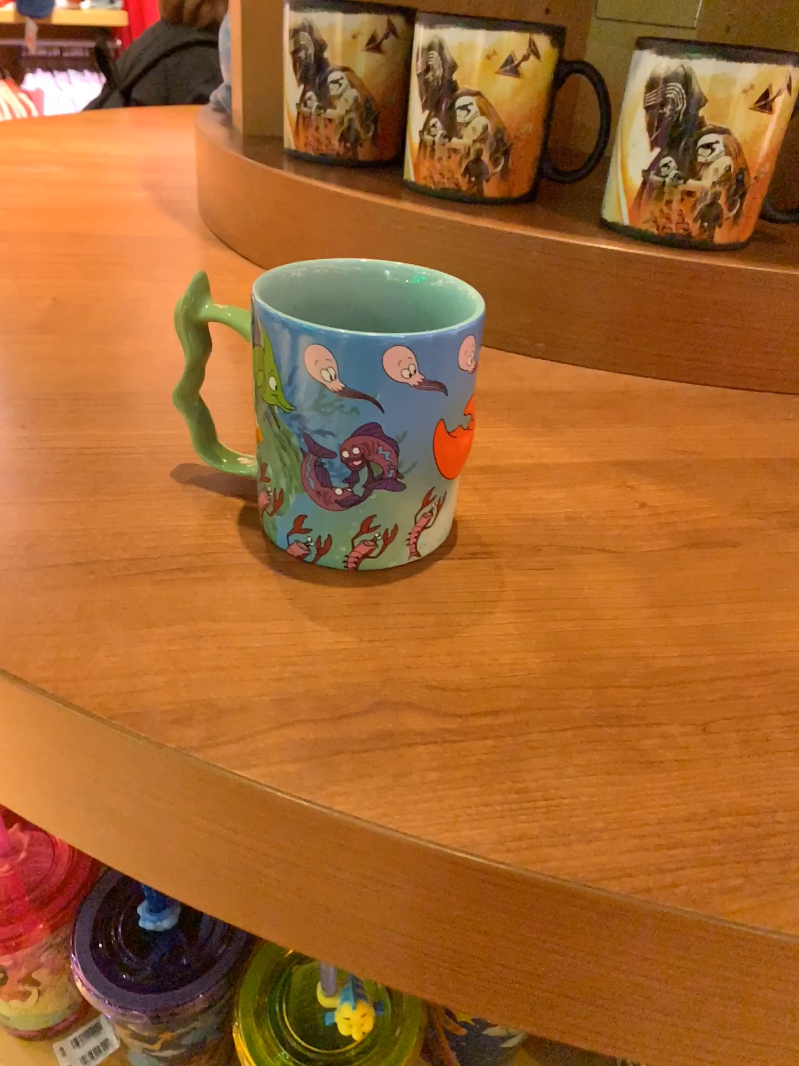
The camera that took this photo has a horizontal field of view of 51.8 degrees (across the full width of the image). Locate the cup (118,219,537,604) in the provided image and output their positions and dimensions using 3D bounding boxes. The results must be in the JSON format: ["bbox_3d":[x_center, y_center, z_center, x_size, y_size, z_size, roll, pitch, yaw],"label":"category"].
[{"bbox_3d":[-0.030,-0.059,0.346,0.135,0.101,0.091,22,37,23],"label":"cup"}]
